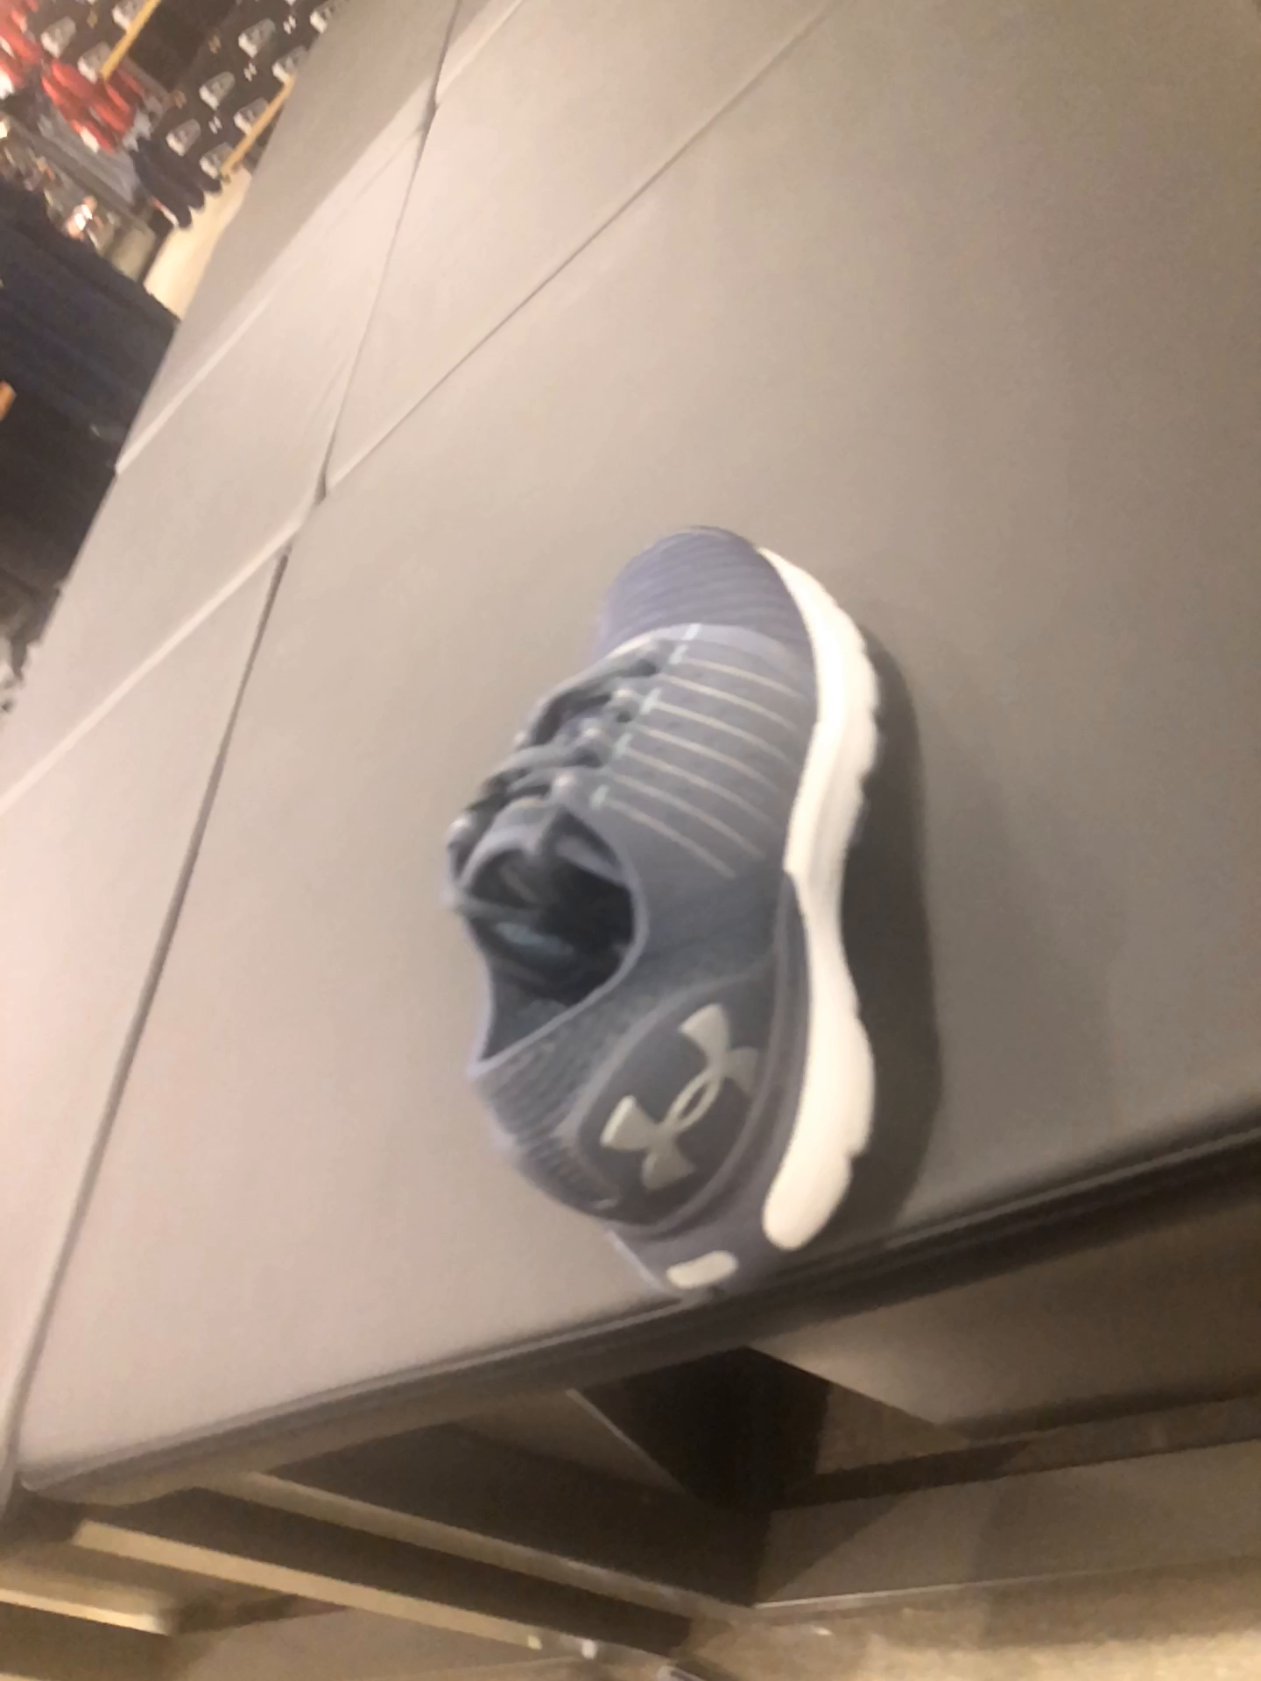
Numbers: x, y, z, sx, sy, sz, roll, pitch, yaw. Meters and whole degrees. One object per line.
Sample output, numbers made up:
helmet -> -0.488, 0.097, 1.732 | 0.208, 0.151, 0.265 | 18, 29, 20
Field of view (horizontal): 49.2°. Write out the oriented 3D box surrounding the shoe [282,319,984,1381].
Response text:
shoe -> 0.007, -0.005, 0.381 | 0.121, 0.097, 0.255 | -30, 40, 35
